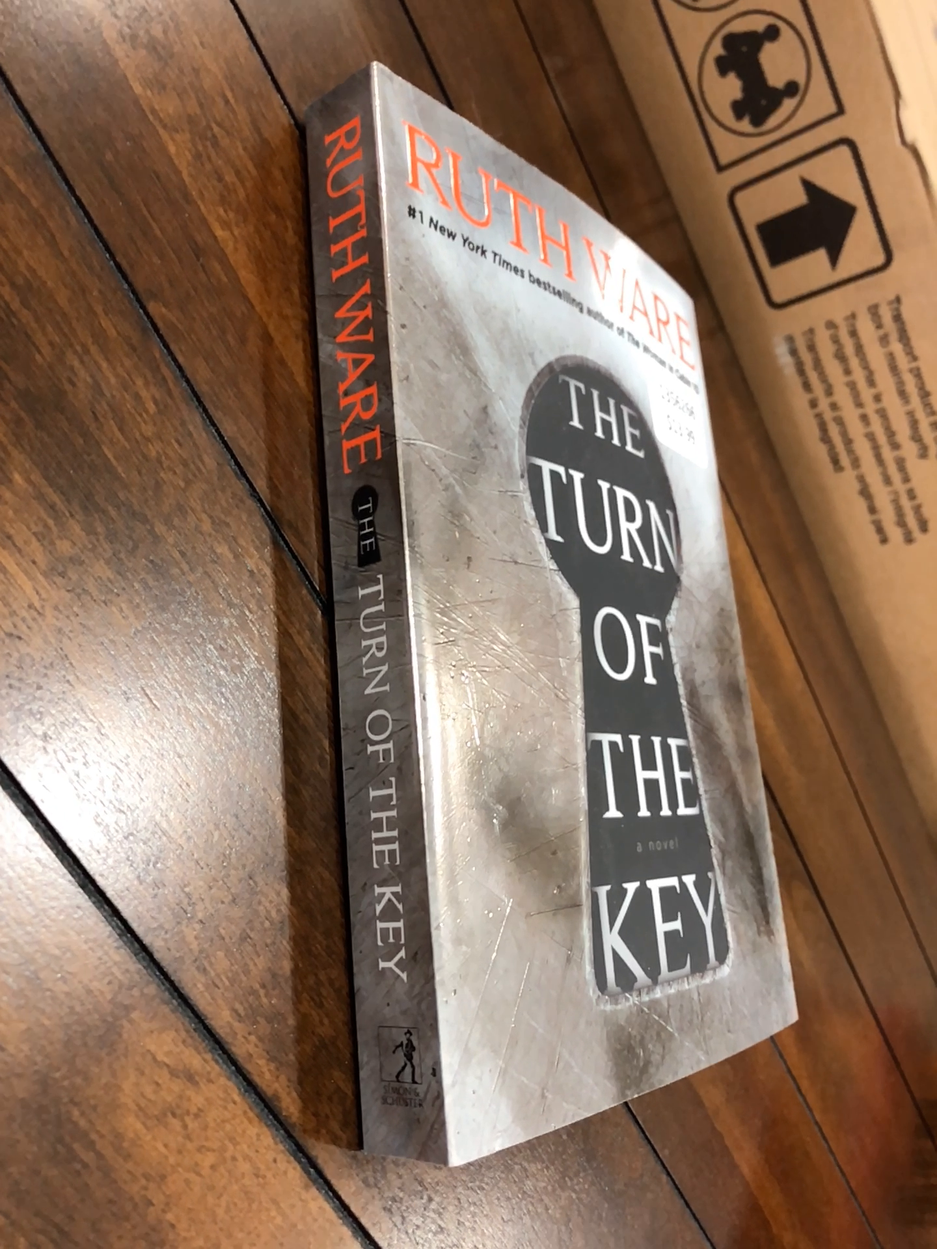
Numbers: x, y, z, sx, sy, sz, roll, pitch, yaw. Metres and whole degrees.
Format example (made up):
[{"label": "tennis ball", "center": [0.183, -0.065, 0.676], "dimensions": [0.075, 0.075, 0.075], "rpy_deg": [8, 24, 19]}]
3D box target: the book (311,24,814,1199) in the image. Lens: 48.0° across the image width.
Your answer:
[{"label": "book", "center": [0.031, -0.004, 0.273], "dimensions": [0.158, 0.028, 0.232], "rpy_deg": [12, 70, -52]}]
